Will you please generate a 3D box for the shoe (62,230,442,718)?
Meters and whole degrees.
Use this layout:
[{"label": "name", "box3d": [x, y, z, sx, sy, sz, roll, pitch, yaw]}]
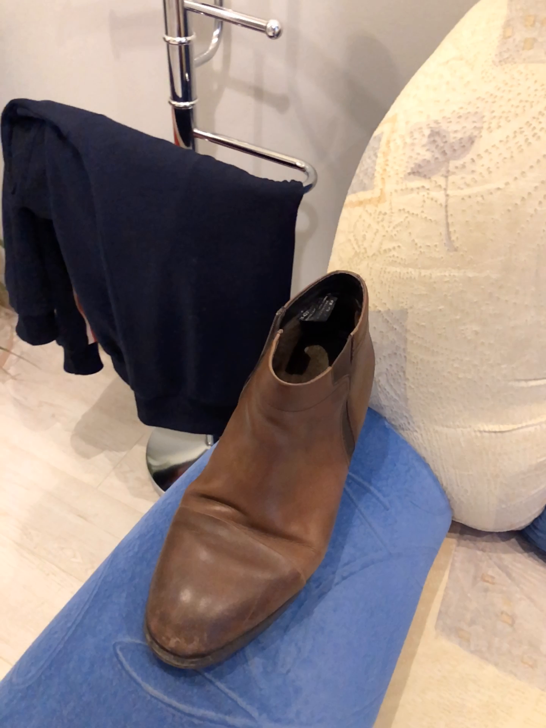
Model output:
[{"label": "shoe", "box3d": [0.012, 0.051, 0.434, 0.110, 0.139, 0.312, 20, 47, 18]}]
